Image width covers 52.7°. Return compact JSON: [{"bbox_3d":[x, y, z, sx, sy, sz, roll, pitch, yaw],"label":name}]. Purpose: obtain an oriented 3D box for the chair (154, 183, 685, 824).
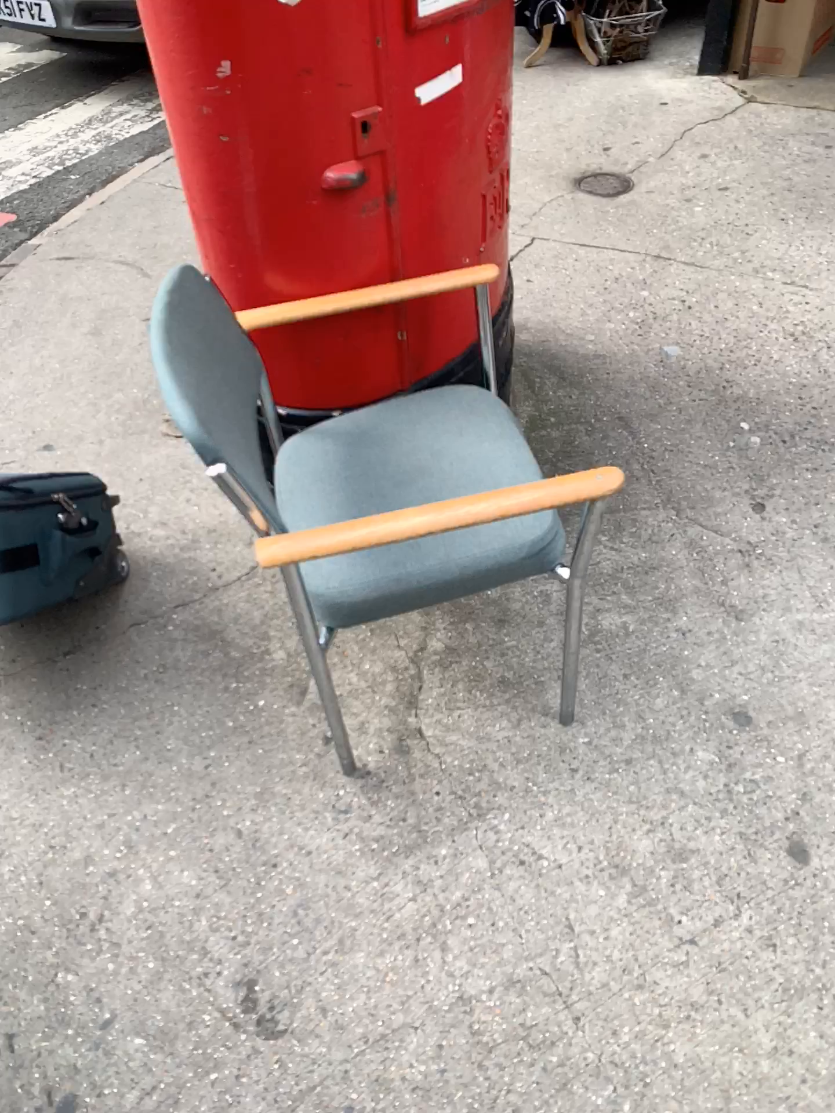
[{"bbox_3d":[-0.030,-0.072,1.337,0.570,0.740,0.562,-11,45,-7],"label":"chair"}]
